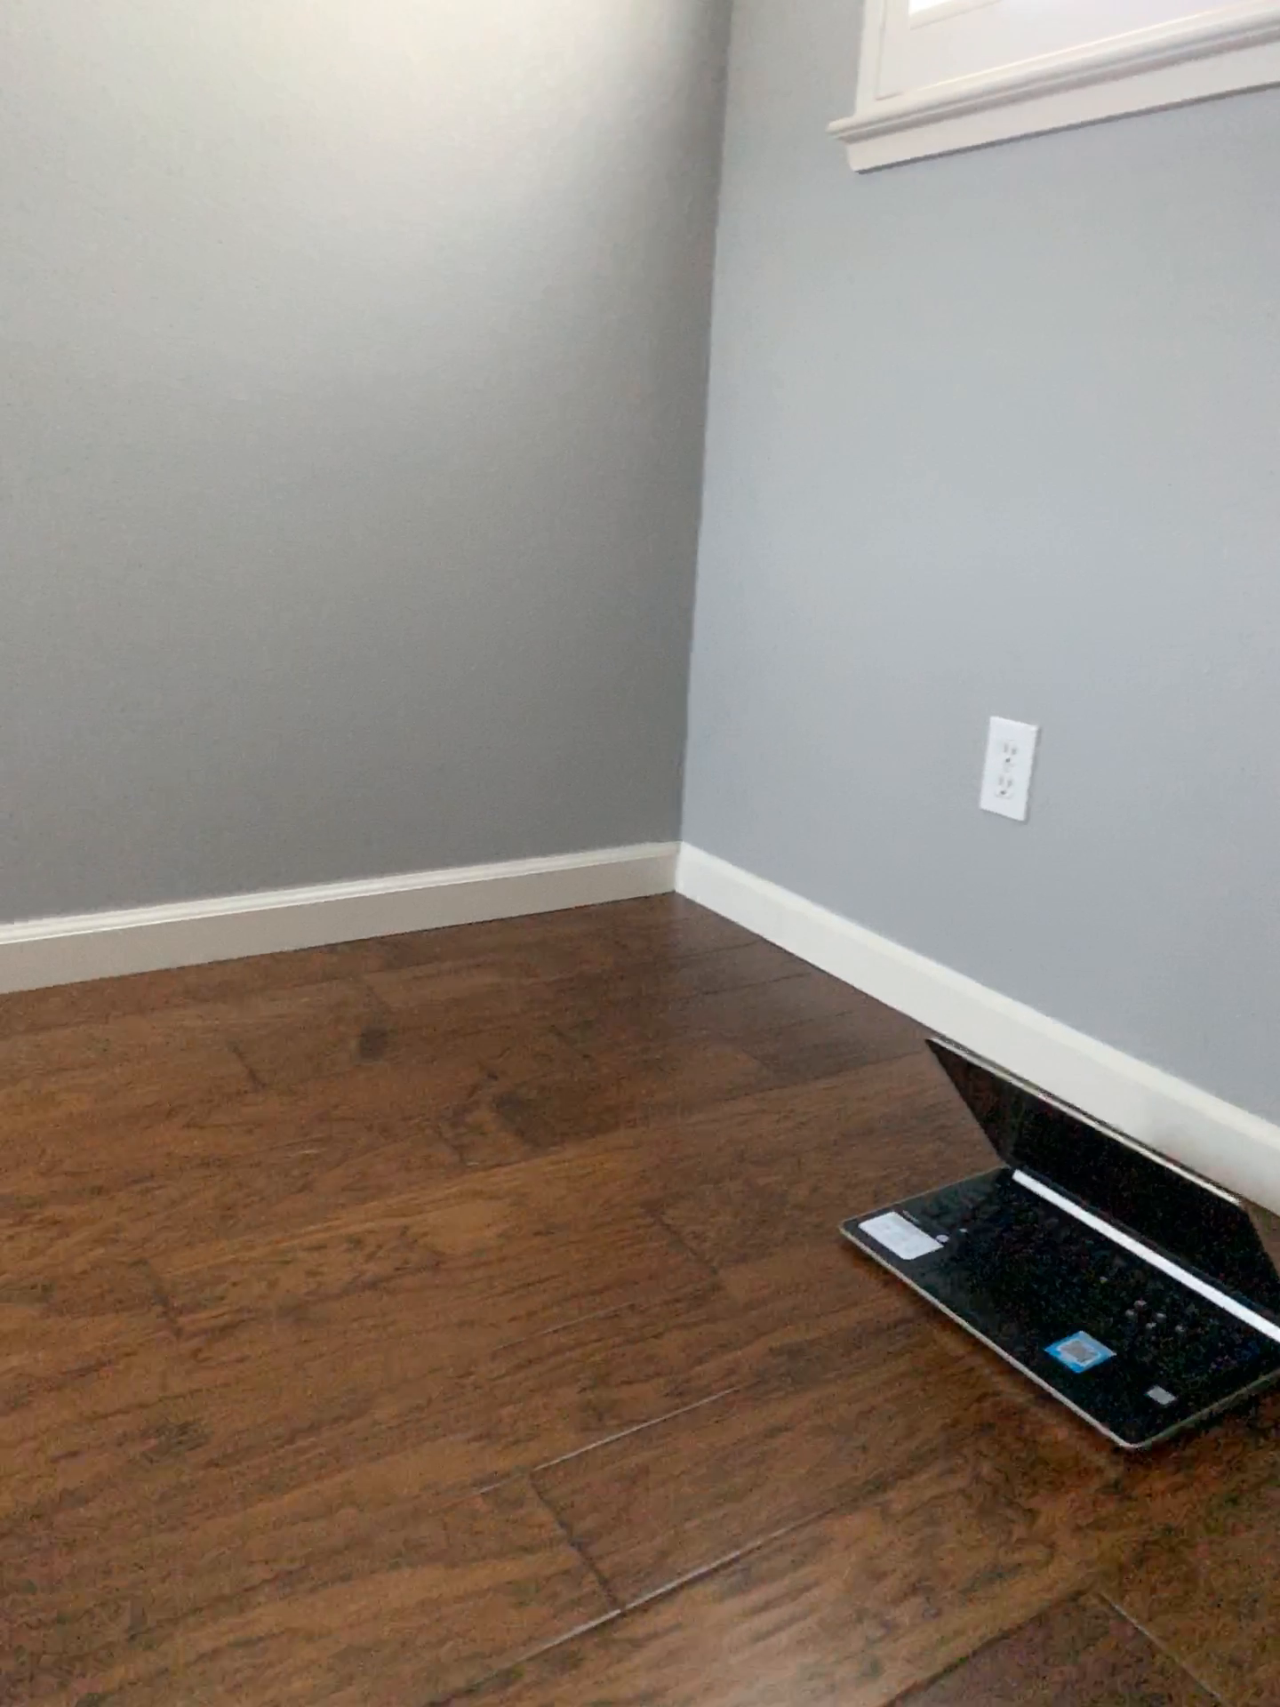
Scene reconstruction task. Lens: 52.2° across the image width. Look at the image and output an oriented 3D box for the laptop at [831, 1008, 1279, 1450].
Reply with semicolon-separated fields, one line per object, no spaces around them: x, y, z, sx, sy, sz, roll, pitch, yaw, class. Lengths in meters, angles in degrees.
0.353;0.283;1.082;0.220;0.169;0.318;-7;19;-32;laptop
